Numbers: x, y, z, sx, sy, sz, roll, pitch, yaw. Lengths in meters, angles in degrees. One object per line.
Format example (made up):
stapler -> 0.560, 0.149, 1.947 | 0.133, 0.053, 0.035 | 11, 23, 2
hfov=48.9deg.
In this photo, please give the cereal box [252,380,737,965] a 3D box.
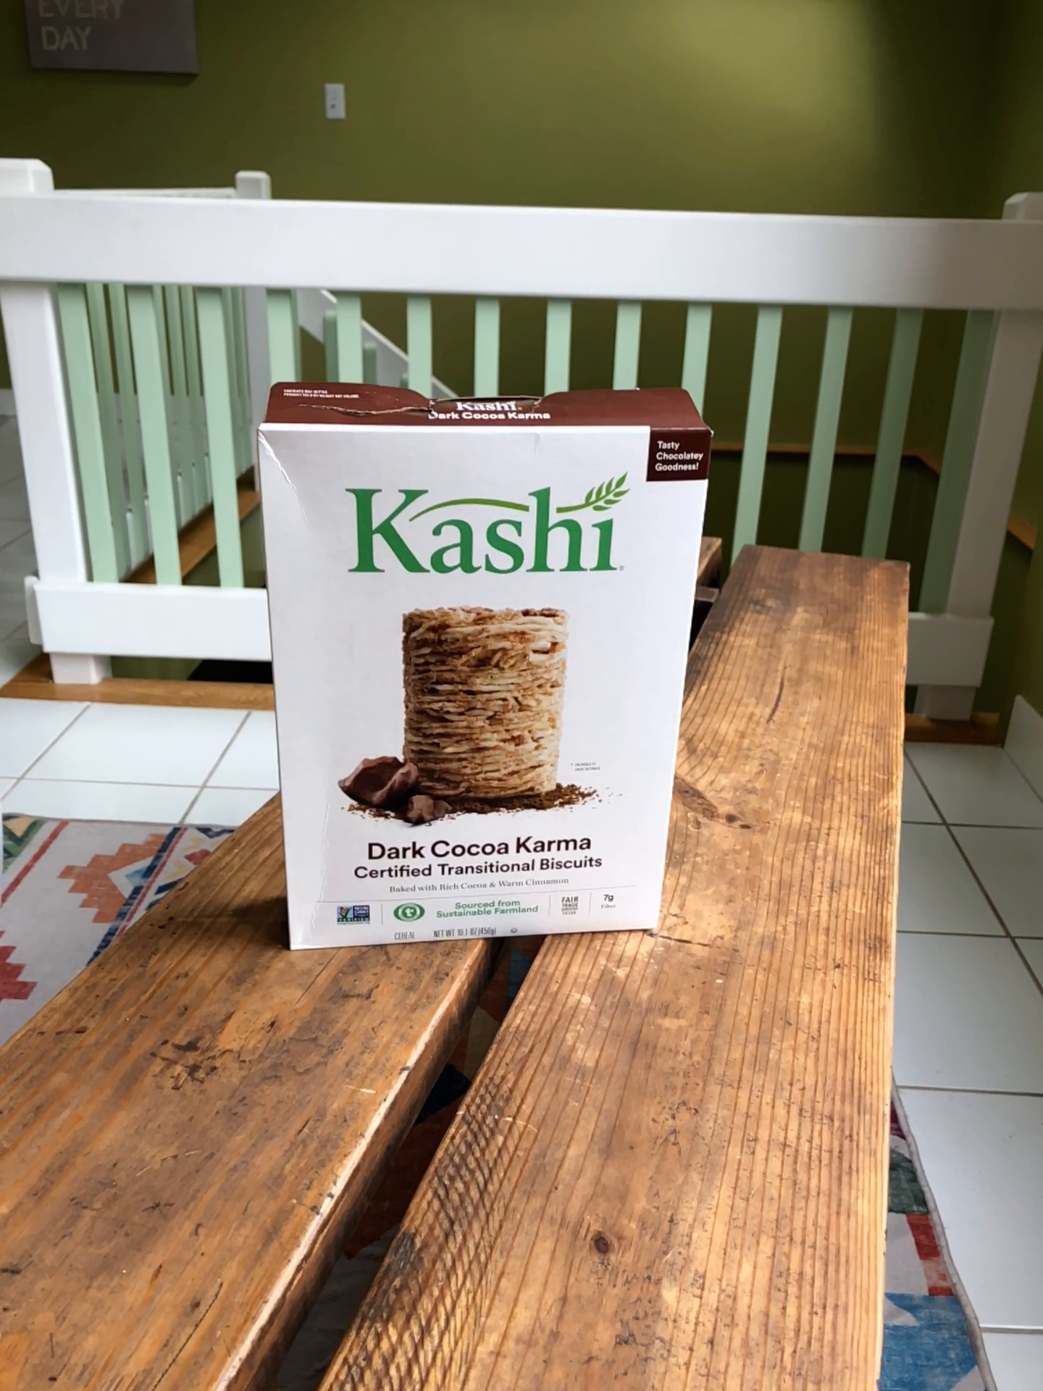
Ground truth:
cereal box -> -0.018, -0.005, 0.559 | 0.200, 0.278, 0.060 | -2, 27, -9
